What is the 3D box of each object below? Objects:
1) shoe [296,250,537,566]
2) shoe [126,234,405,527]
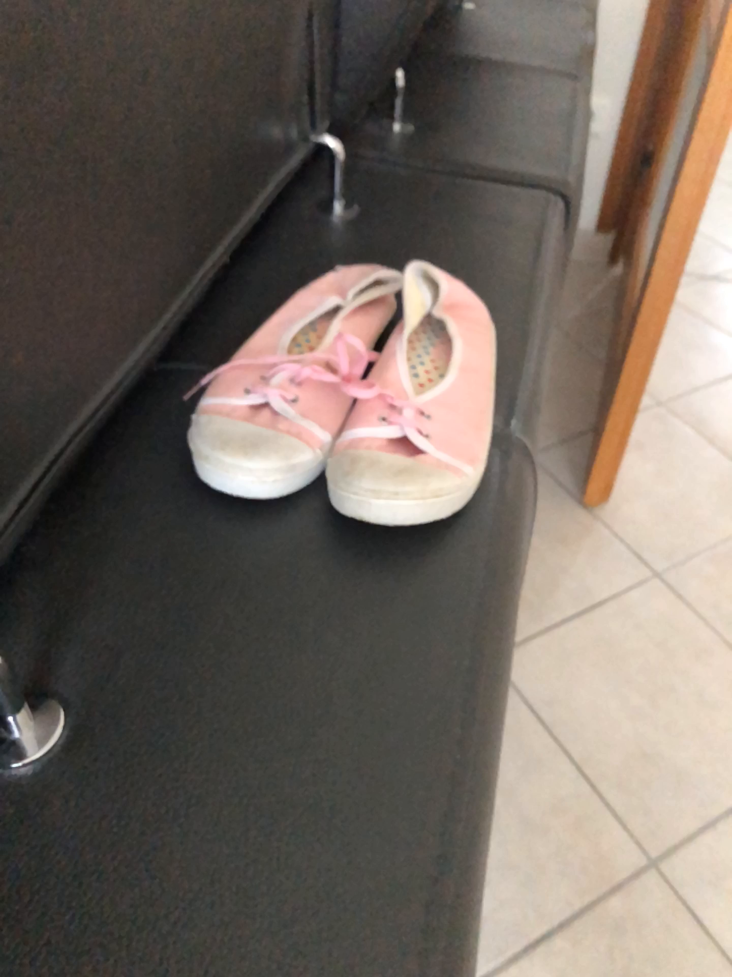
[{"bbox_3d":[0.040,-0.064,0.486,0.090,0.040,0.241,12,43,9],"label":"shoe"},{"bbox_3d":[-0.048,-0.082,0.508,0.090,0.040,0.241,12,43,9],"label":"shoe"}]
